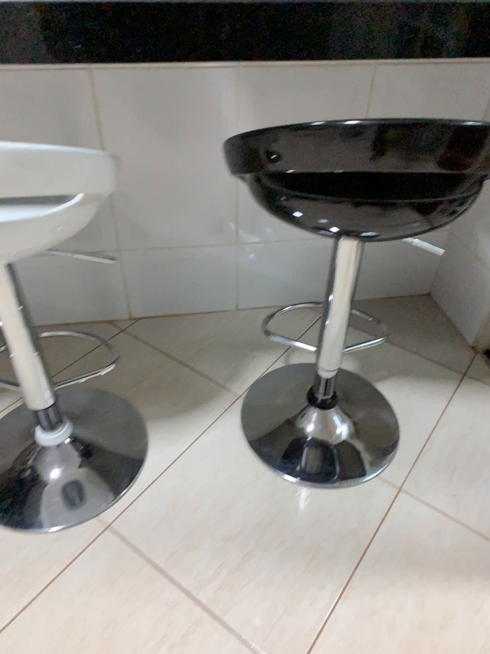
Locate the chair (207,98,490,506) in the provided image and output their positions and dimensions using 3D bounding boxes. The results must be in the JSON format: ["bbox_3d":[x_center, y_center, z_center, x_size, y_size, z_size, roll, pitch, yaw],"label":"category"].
[{"bbox_3d":[0.197,-0.044,0.999,0.520,0.663,0.444,-2,39,-4],"label":"chair"}]

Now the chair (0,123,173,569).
[{"bbox_3d":[-0.421,0.033,0.898,0.510,0.634,0.414,-5,39,-9],"label":"chair"}]
